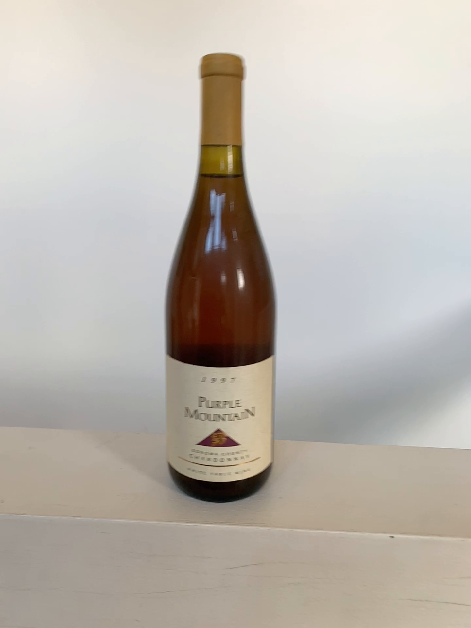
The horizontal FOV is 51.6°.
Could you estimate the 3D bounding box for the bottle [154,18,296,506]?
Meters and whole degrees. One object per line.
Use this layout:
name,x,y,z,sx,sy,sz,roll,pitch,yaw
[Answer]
bottle,-0.010,-0.025,0.349,0.080,0.309,0.080,1,13,0
